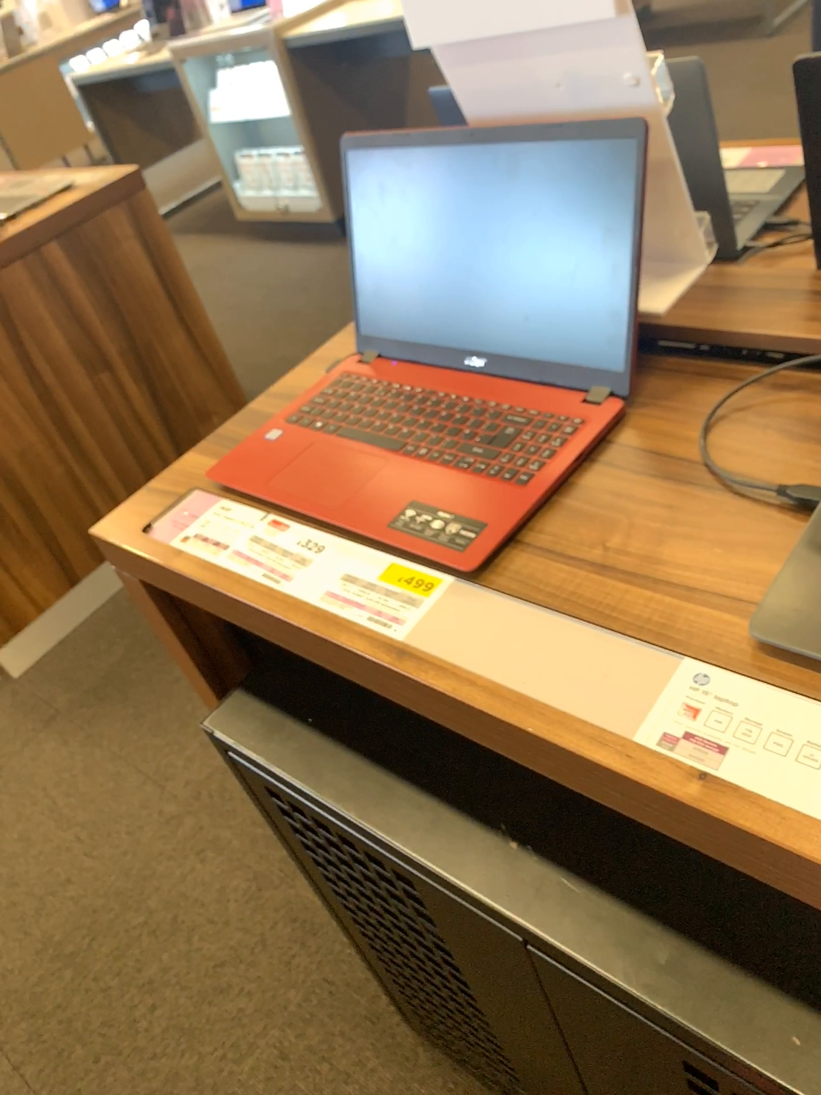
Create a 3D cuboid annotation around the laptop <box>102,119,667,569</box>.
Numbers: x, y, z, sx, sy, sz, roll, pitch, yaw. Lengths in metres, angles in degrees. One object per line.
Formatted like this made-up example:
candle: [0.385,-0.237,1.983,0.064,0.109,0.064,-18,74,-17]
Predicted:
laptop: [-0.014,-0.209,0.783,0.357,0.213,0.322,19,53,39]
